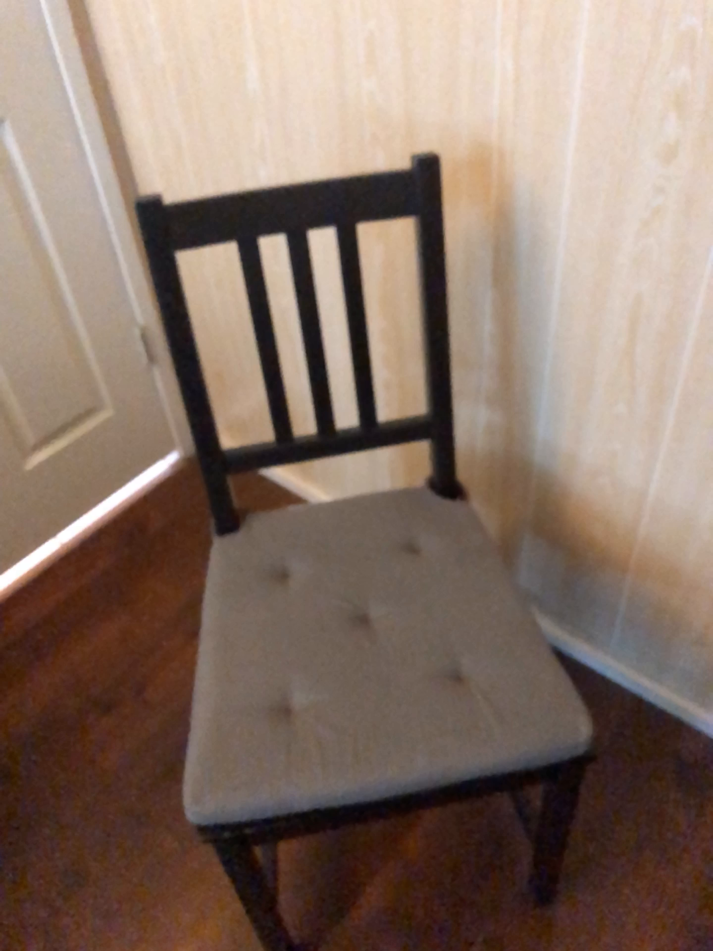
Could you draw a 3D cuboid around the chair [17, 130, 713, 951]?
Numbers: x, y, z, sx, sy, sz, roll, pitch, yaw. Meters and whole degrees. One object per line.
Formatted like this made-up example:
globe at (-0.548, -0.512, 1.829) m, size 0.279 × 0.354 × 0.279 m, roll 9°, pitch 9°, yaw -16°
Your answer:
chair at (0.014, 0.146, 0.924) m, size 0.440 × 0.834 × 0.513 m, roll -10°, pitch 44°, yaw -5°
